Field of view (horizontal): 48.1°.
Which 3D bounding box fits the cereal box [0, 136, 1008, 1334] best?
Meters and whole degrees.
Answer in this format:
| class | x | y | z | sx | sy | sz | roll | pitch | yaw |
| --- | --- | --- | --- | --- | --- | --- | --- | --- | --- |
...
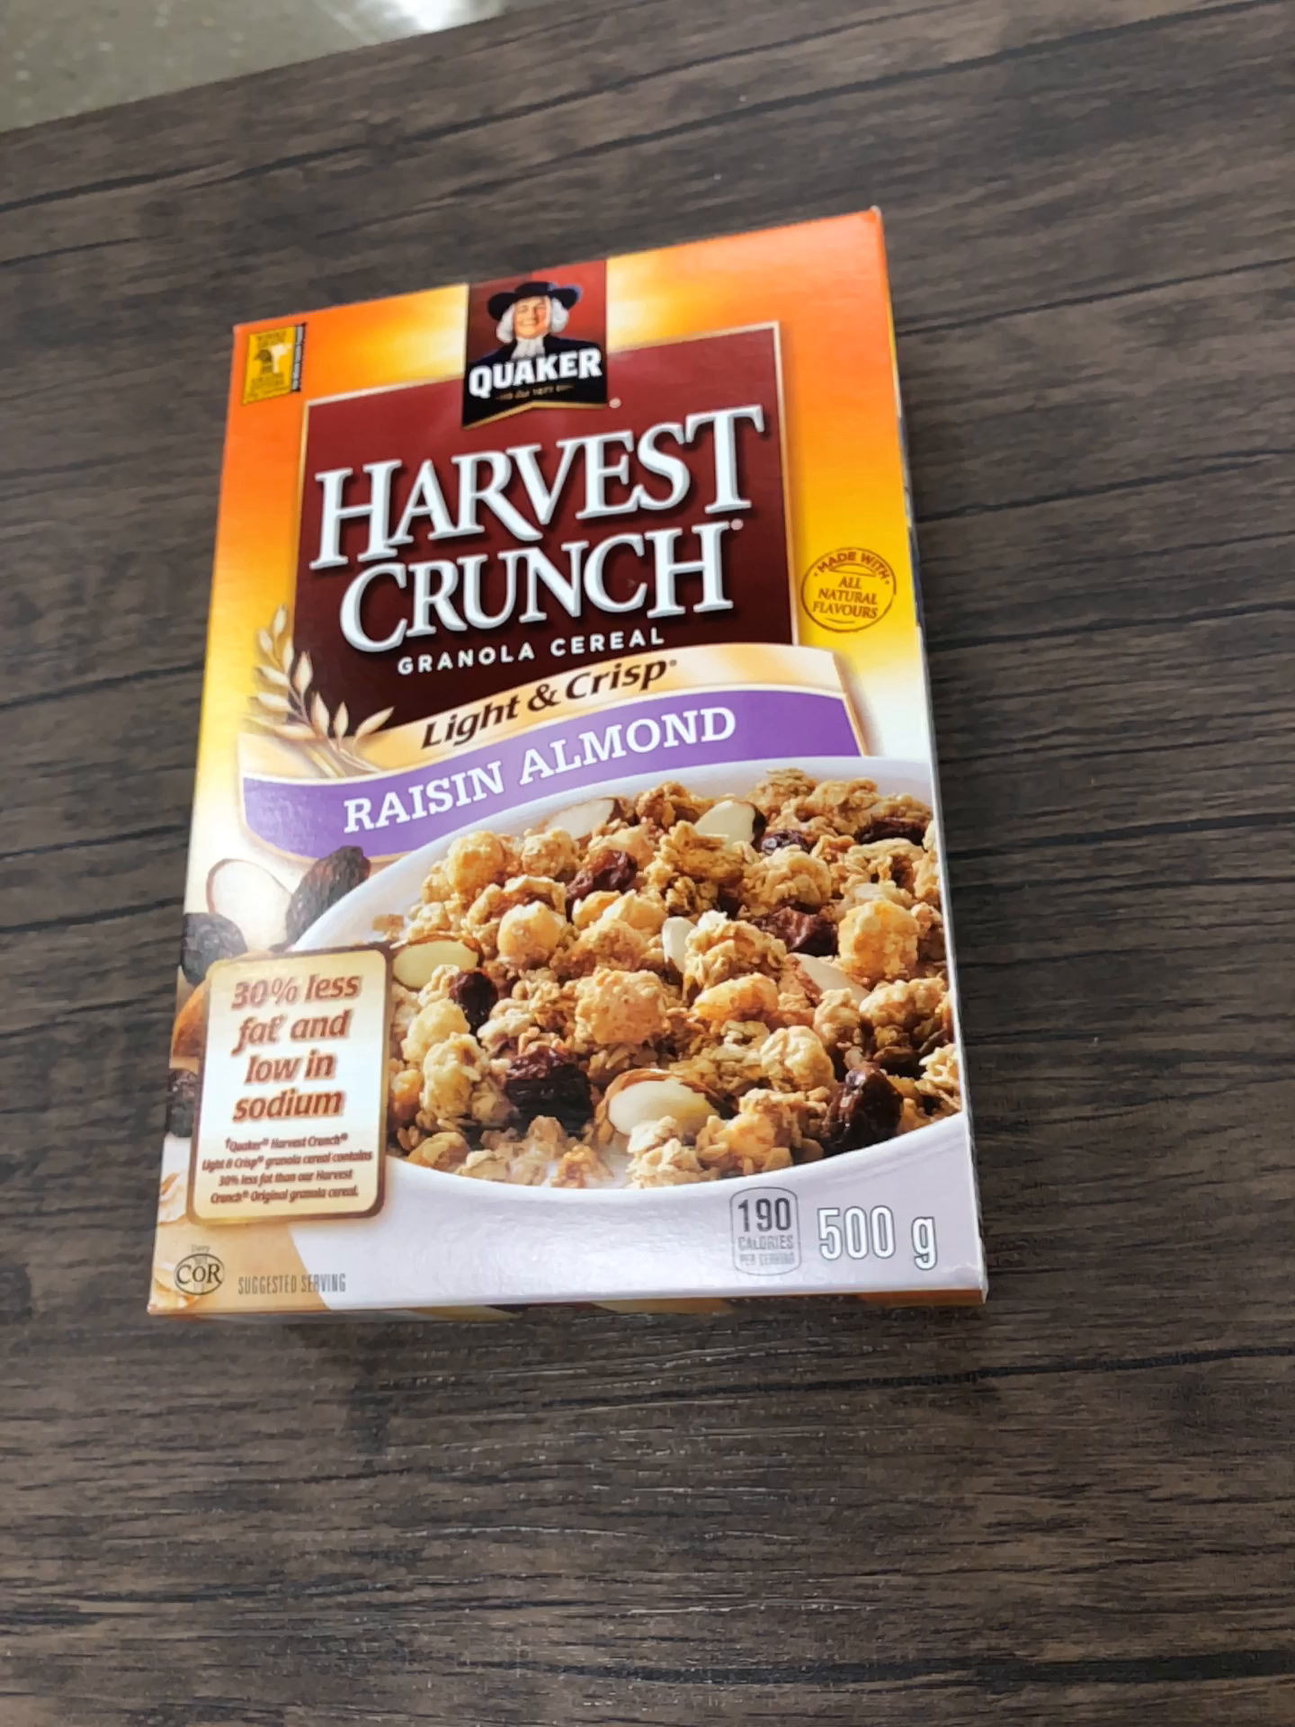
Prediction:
| class | x | y | z | sx | sy | sz | roll | pitch | yaw |
| --- | --- | --- | --- | --- | --- | --- | --- | --- | --- |
| cereal box | -0.029 | -0.025 | 0.303 | 0.180 | 0.050 | 0.230 | -5 | 71 | 11 |
